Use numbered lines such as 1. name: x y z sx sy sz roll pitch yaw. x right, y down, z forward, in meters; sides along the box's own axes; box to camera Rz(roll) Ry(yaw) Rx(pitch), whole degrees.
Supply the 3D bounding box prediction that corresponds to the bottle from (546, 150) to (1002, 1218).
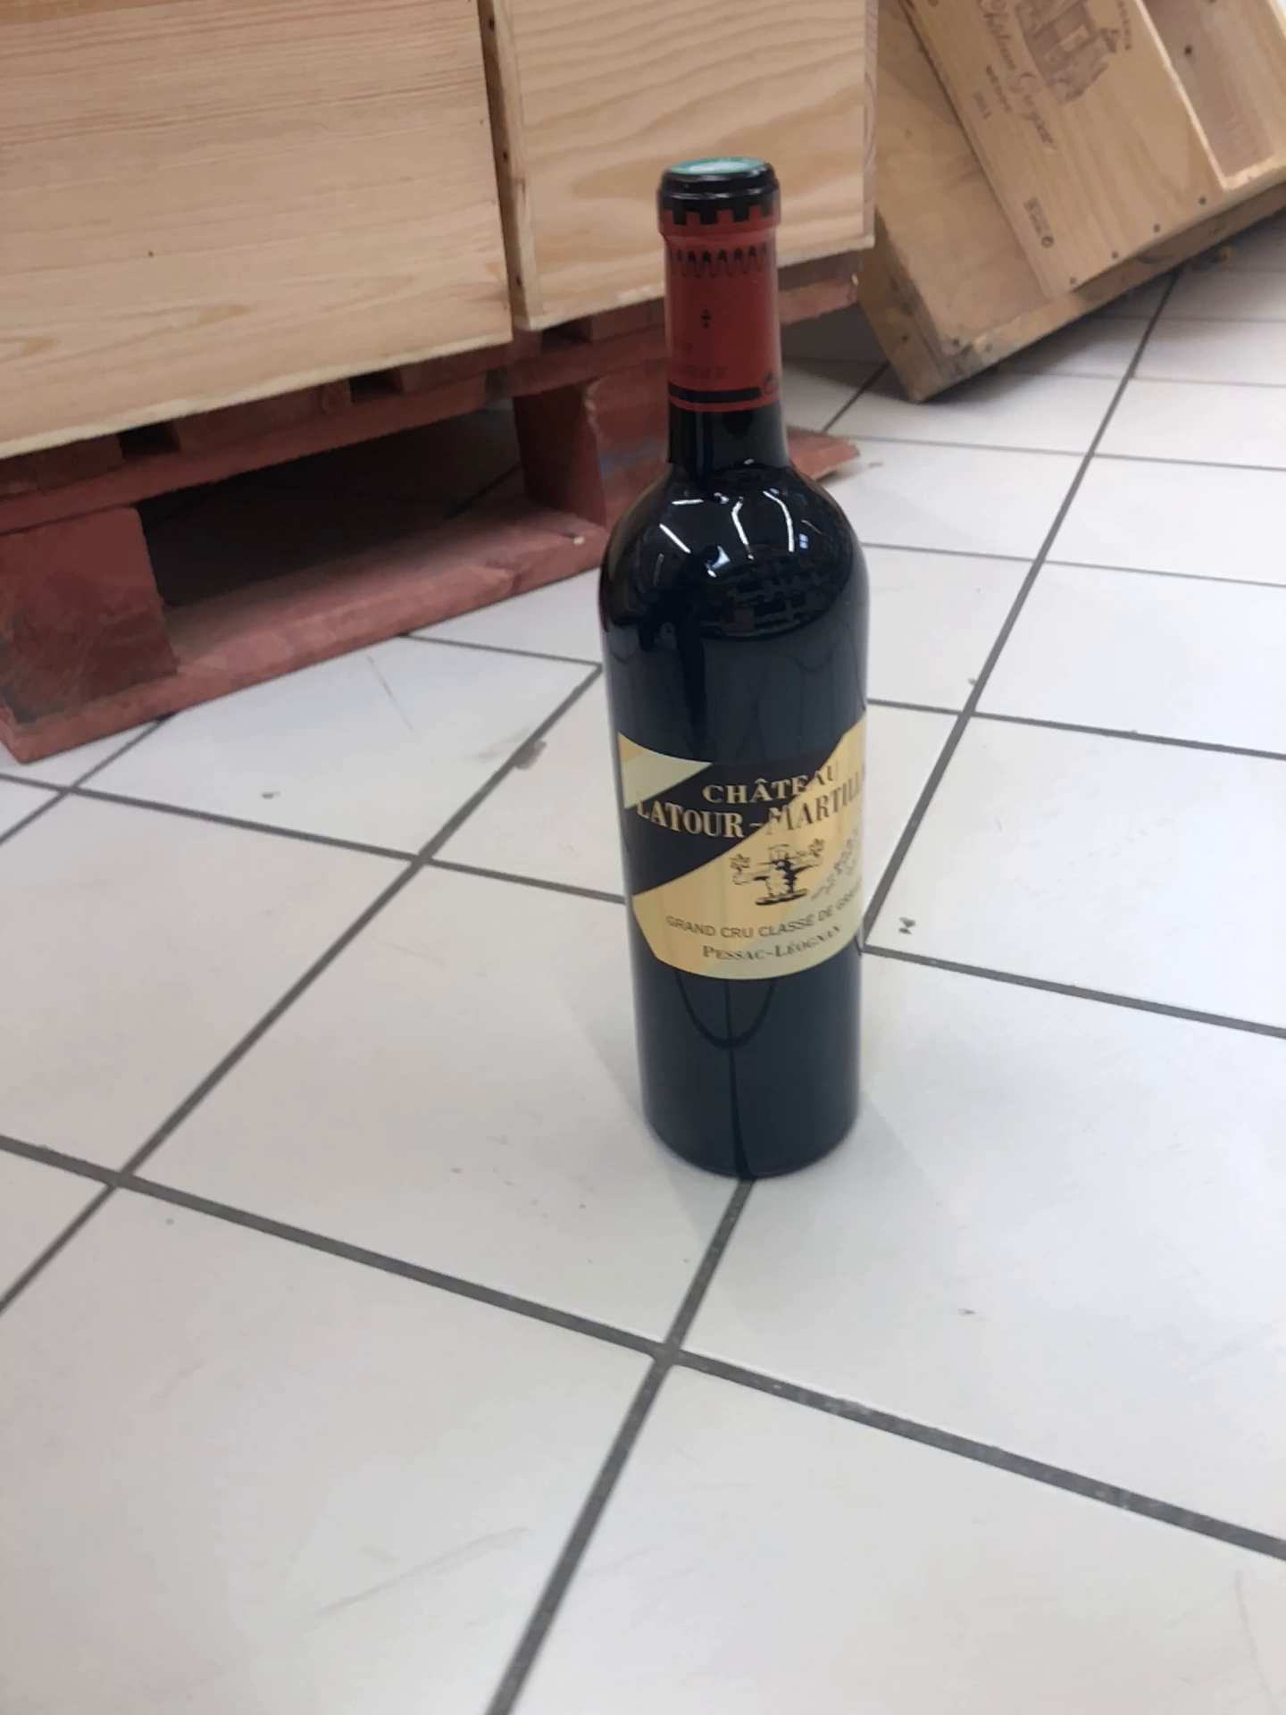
1. bottle: 0.034 -0.035 0.396 0.080 0.278 0.080 -3 33 2
